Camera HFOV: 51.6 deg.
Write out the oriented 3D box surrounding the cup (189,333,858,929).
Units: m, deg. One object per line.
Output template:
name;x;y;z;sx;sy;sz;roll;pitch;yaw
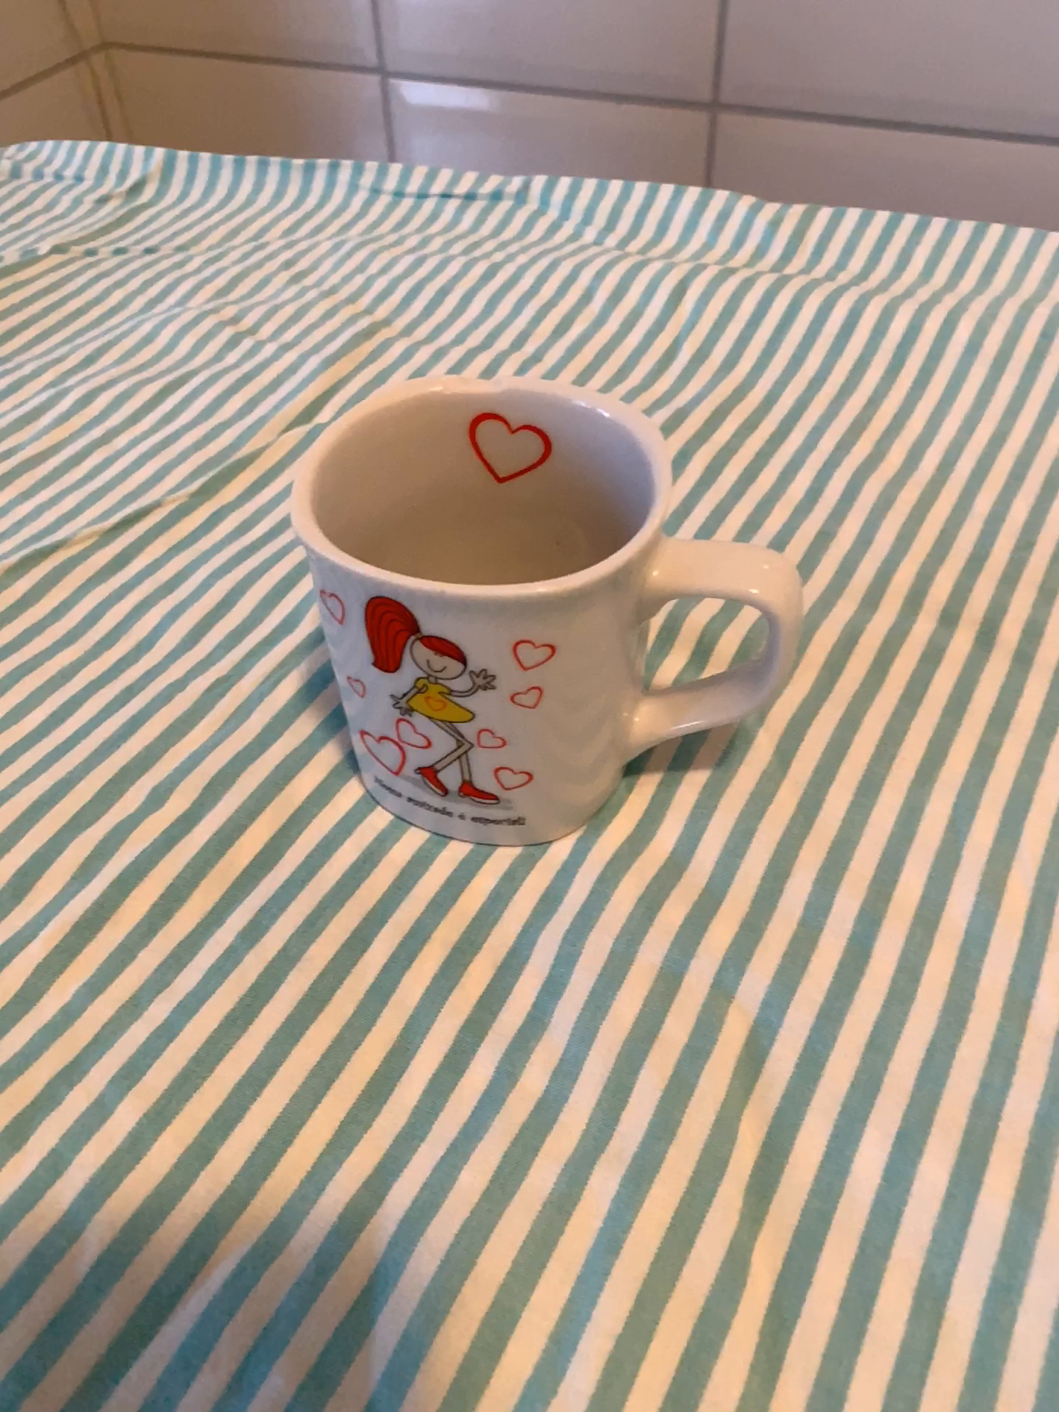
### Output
cup;0.002;-0.019;0.239;0.110;0.080;0.070;16;49;16
